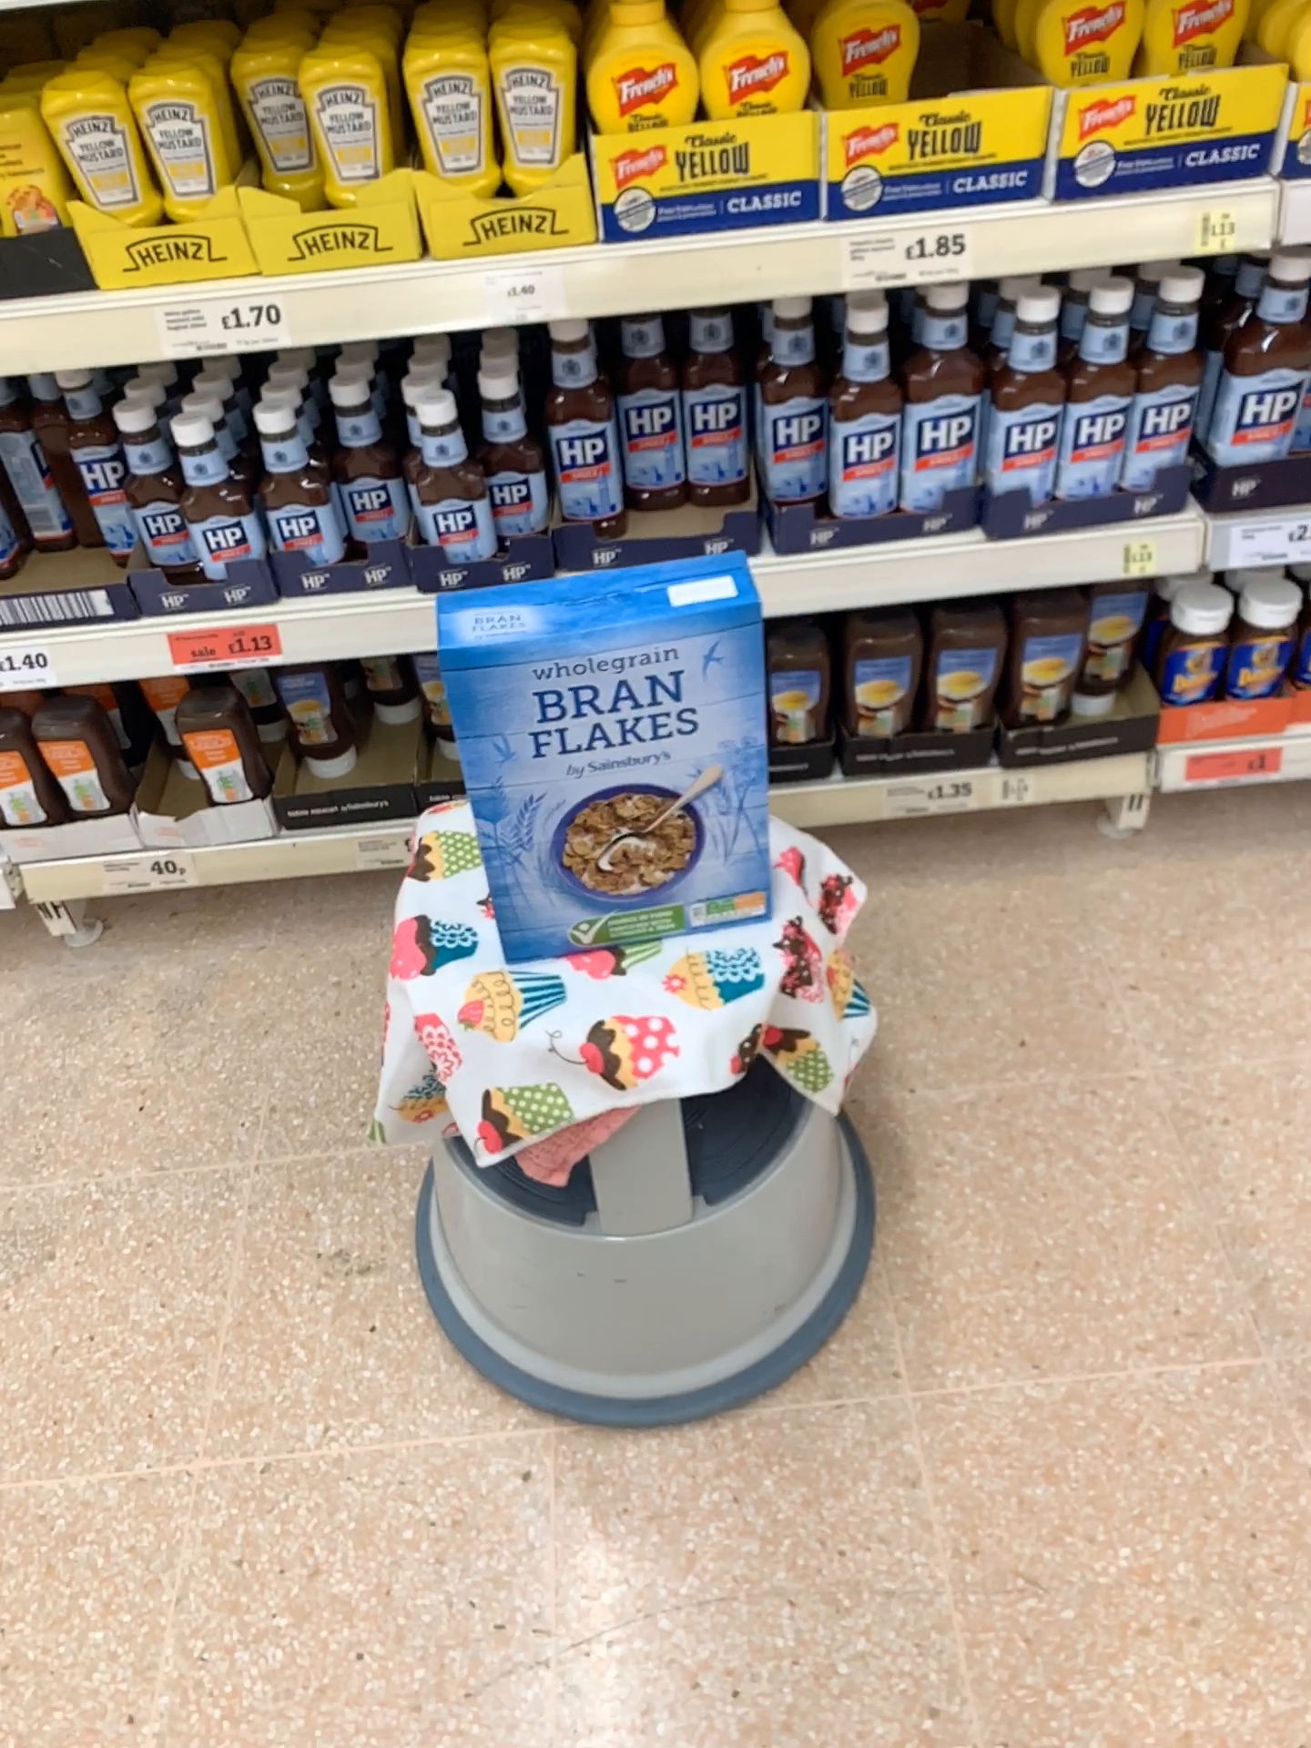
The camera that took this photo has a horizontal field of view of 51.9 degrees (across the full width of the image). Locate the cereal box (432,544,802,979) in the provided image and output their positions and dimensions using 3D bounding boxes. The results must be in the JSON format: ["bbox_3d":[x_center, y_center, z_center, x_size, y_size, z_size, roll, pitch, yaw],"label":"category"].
[{"bbox_3d":[-0.017,-0.067,0.890,0.210,0.258,0.081,-10,41,-4],"label":"cereal box"}]
